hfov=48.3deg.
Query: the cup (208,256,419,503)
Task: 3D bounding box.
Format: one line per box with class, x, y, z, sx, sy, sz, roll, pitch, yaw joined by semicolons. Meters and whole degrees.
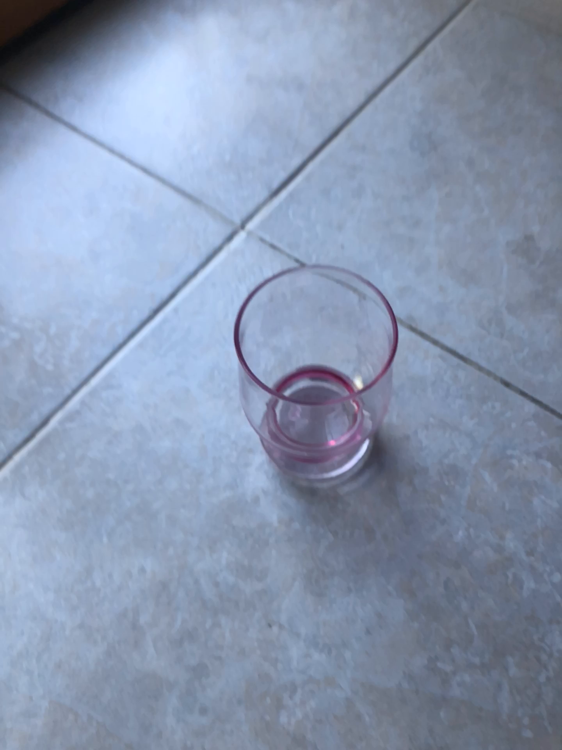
cup;0.012;0.007;0.297;0.079;0.102;0.079;0;62;0
